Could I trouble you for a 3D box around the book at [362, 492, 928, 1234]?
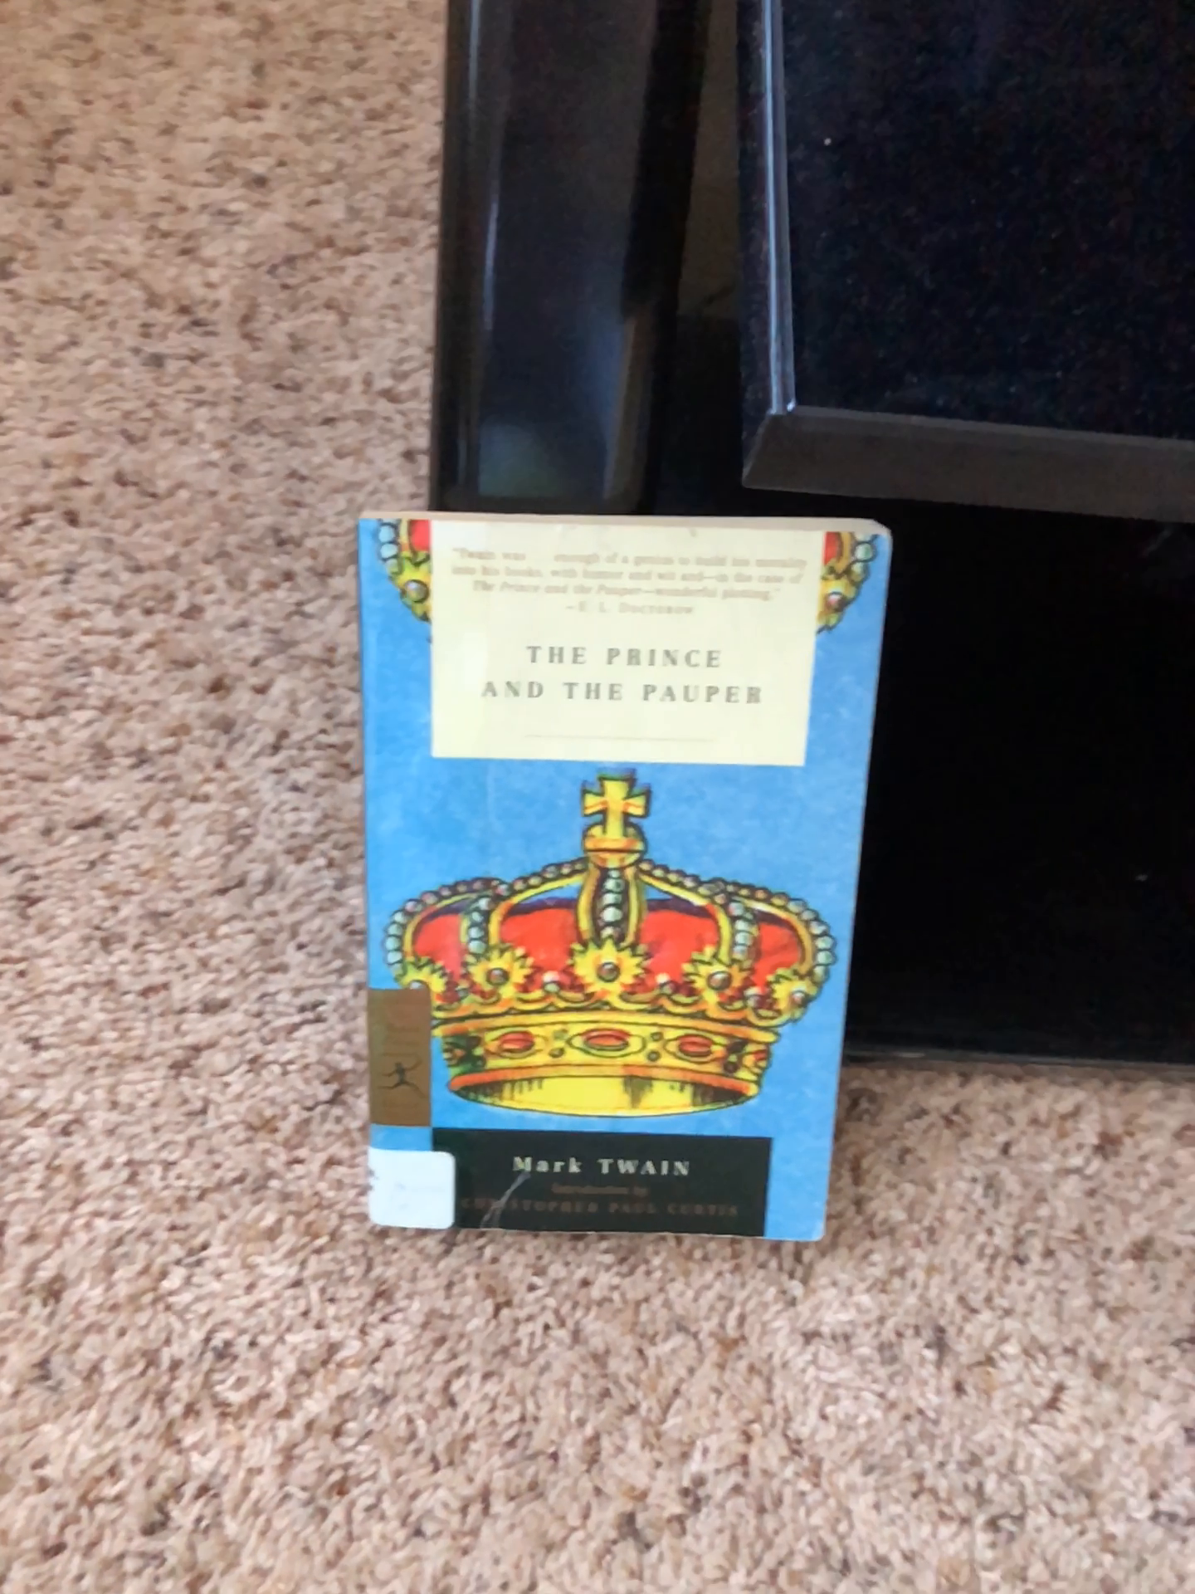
[{"bbox_3d":[0.006,0.023,0.353,0.130,0.030,0.193,3,107,-6],"label":"book"}]
